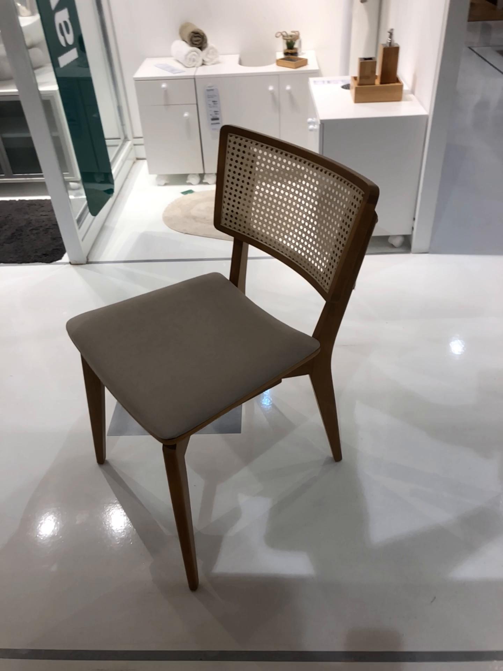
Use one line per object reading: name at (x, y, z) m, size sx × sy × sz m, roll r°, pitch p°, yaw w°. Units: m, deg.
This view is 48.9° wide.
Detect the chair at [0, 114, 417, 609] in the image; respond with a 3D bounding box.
chair at (-0.088, 0.031, 1.265) m, size 0.602 × 0.794 × 0.543 m, roll -27°, pitch 44°, yaw -27°
